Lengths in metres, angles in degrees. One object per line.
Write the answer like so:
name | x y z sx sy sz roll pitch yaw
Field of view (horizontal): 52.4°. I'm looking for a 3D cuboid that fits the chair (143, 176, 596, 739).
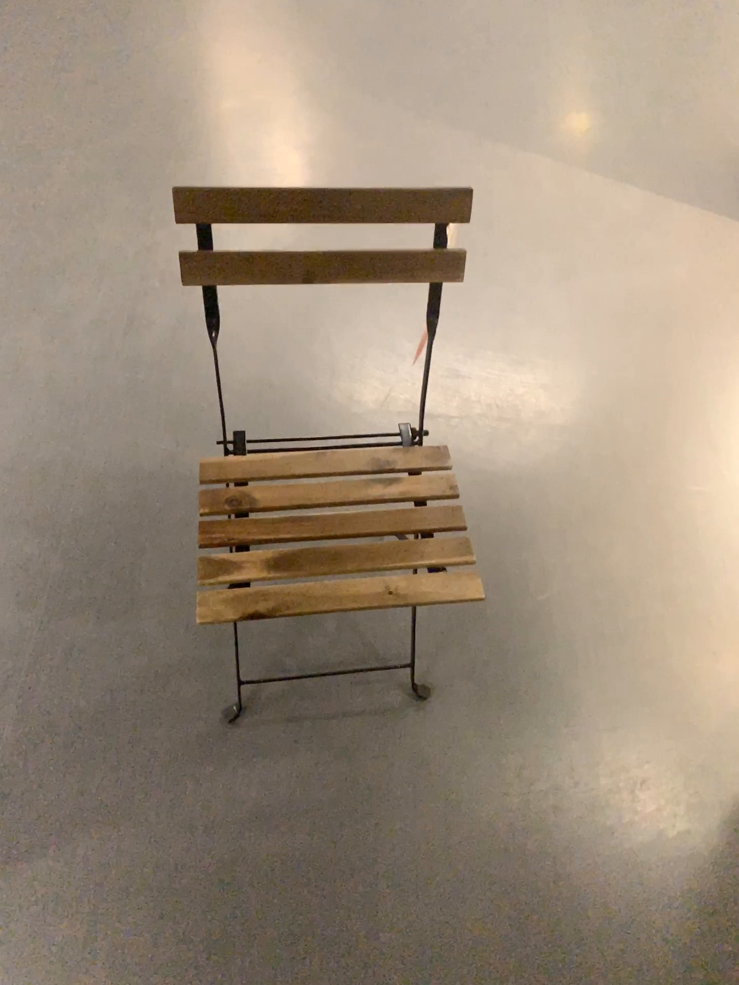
chair | -0.056 -0.009 1.129 0.430 0.698 0.501 -3 56 -9
